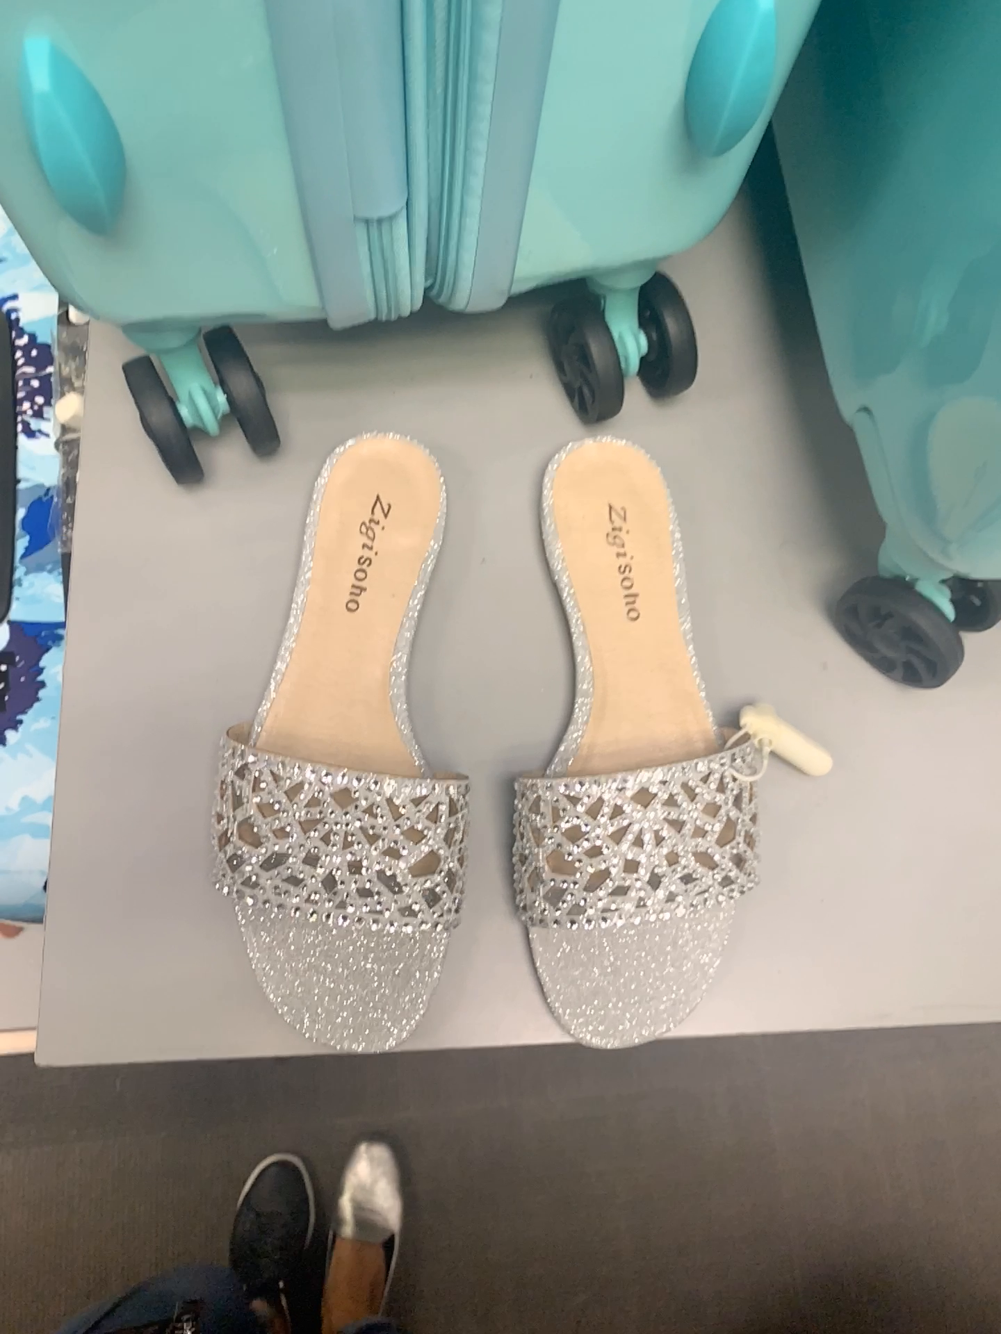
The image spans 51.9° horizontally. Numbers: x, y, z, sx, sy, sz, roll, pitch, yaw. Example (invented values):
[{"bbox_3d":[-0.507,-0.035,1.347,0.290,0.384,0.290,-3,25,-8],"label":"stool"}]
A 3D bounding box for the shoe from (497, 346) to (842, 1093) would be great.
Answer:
[{"bbox_3d":[0.052,0.014,0.360,0.098,0.061,0.242,2,75,-3],"label":"shoe"}]

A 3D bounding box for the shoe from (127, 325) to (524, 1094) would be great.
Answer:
[{"bbox_3d":[-0.051,0.010,0.356,0.100,0.061,0.243,4,75,-2],"label":"shoe"}]
